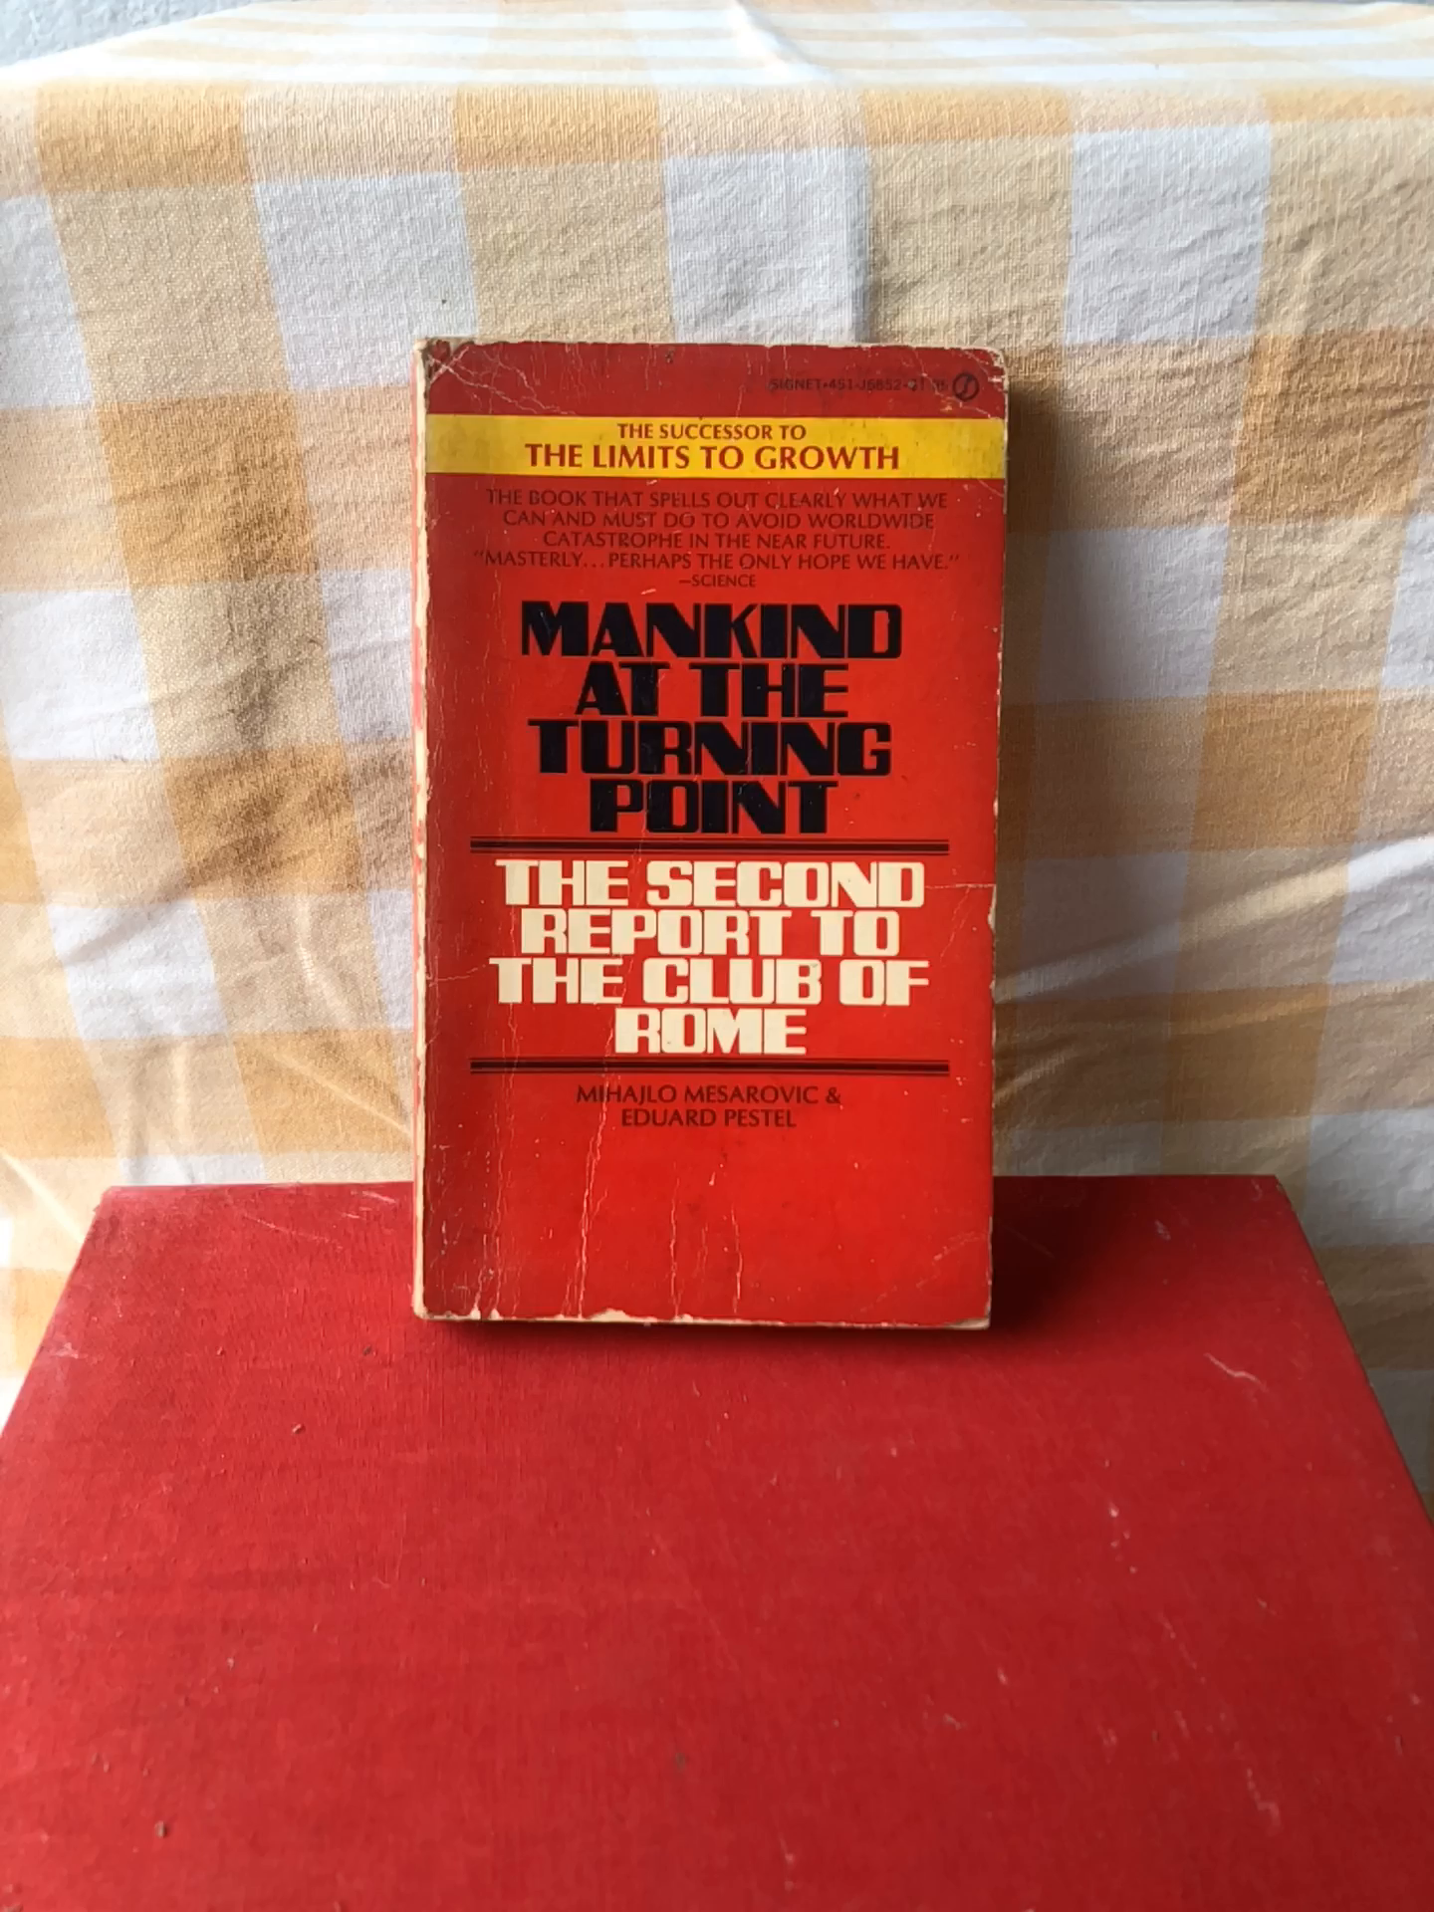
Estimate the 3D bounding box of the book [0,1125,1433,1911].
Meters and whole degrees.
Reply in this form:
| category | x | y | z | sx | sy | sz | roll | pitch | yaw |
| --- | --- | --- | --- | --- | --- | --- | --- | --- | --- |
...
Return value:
| category | x | y | z | sx | sy | sz | roll | pitch | yaw |
| --- | --- | --- | --- | --- | --- | --- | --- | --- | --- |
| book | -0.007 | 0.118 | 0.319 | 0.280 | 0.040 | 0.191 | -3 | 34 | 2 |

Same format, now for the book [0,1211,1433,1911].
| category | x | y | z | sx | sy | sz | roll | pitch | yaw |
| --- | --- | --- | --- | --- | --- | --- | --- | --- | --- |
| book | -0.008 | 0.135 | 0.304 | 0.240 | 0.040 | 0.191 | -3 | 34 | 2 |

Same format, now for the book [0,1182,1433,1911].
| category | x | y | z | sx | sy | sz | roll | pitch | yaw |
| --- | --- | --- | --- | --- | --- | --- | --- | --- | --- |
| book | -0.011 | 0.131 | 0.317 | 0.270 | 0.040 | 0.191 | -3 | 34 | 2 |

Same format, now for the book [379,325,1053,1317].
| category | x | y | z | sx | sy | sz | roll | pitch | yaw |
| --- | --- | --- | --- | --- | --- | --- | --- | --- | --- |
| book | -0.001 | -0.022 | 0.293 | 0.110 | 0.170 | 0.040 | 0 | 9 | 0 |
